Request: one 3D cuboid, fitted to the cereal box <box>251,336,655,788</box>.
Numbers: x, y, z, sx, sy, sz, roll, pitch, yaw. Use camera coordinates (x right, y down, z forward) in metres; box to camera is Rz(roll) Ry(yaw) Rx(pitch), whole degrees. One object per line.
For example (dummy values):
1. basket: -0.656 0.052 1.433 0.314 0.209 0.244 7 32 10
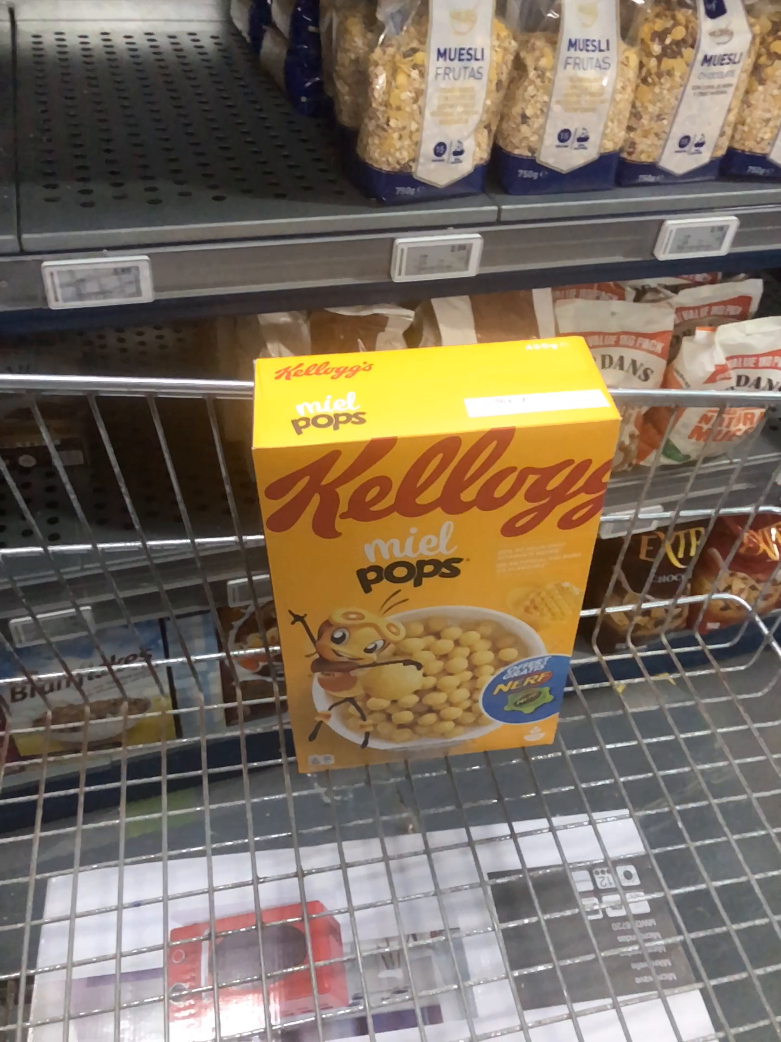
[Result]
1. cereal box: 0.026 0.037 0.550 0.200 0.279 0.090 -6 41 -9
